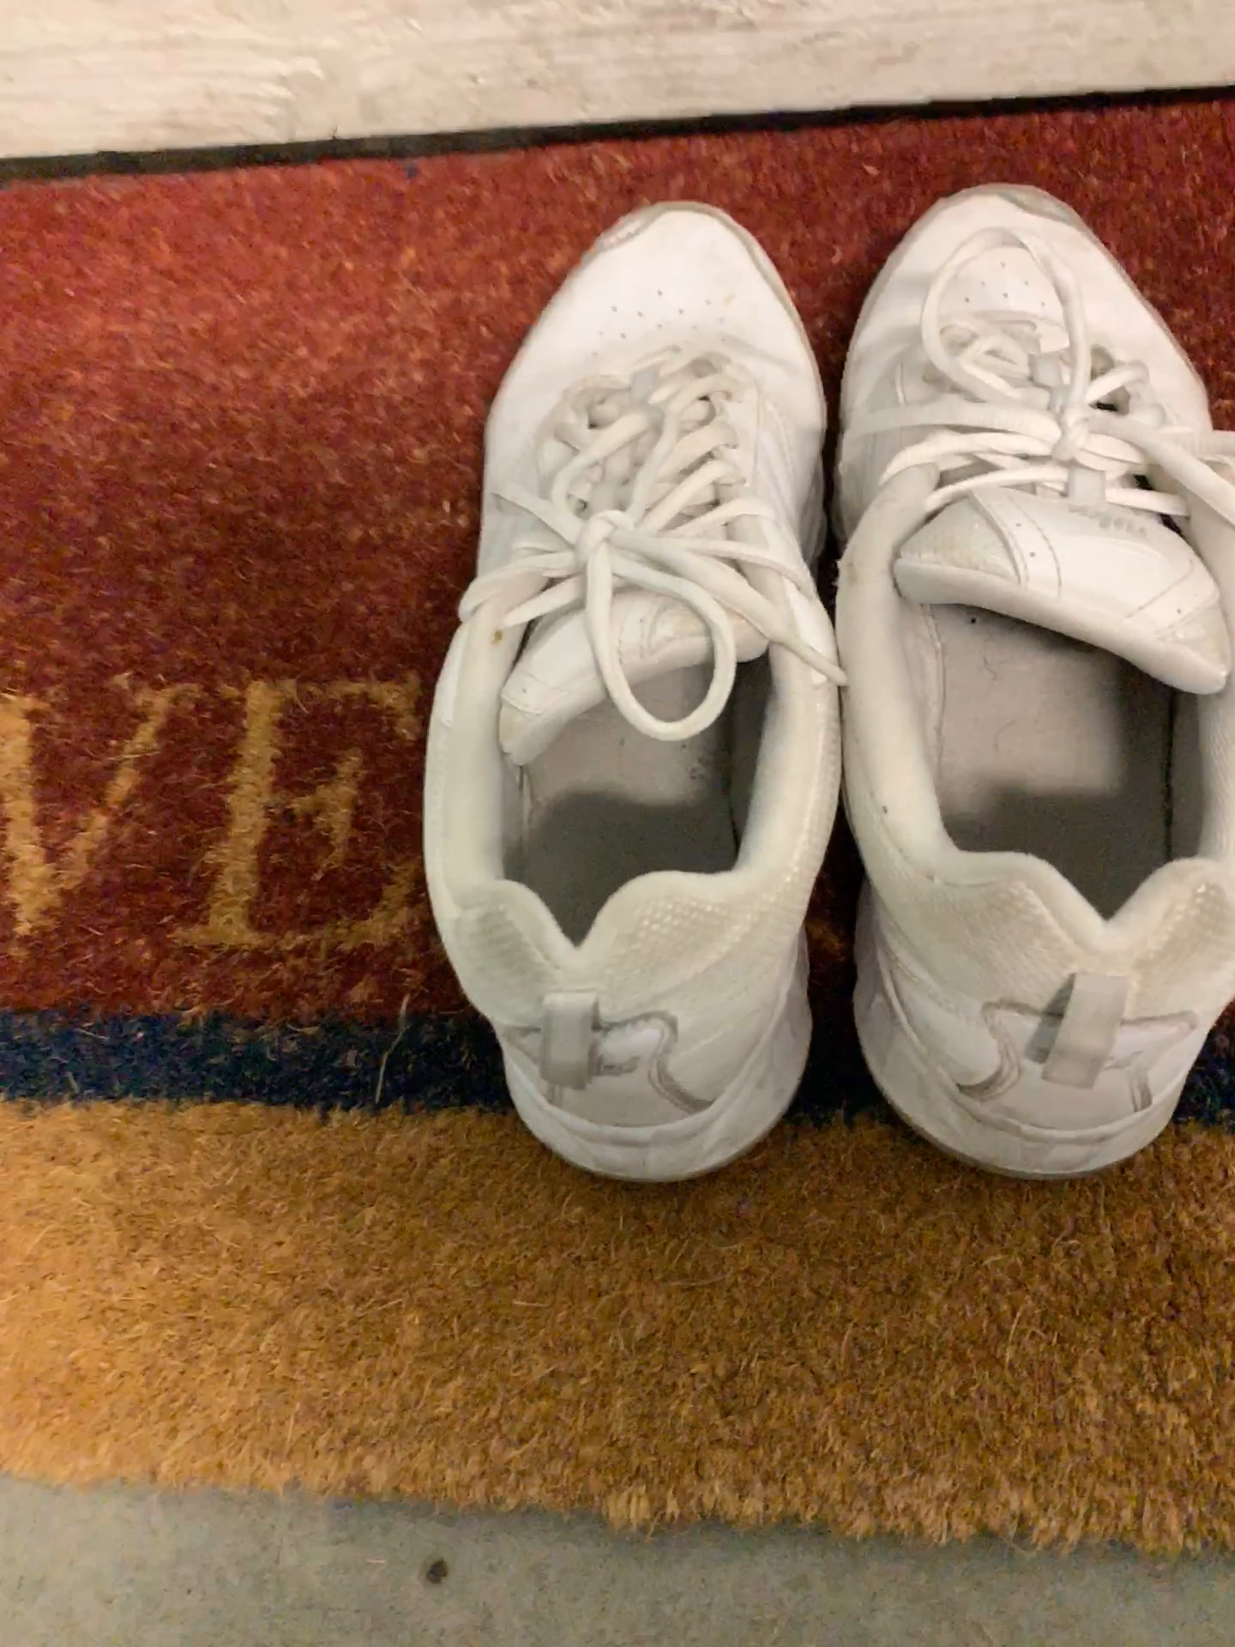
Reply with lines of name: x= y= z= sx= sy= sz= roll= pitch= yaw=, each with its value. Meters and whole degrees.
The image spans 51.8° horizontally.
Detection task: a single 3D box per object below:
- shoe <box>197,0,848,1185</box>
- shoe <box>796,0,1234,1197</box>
shoe: x=-0.002 y=-0.072 z=0.328 sx=0.110 sy=0.129 sz=0.302 roll=0 pitch=67 yaw=8
shoe: x=0.105 y=-0.074 z=0.313 sx=0.120 sy=0.129 sz=0.302 roll=0 pitch=67 yaw=8
